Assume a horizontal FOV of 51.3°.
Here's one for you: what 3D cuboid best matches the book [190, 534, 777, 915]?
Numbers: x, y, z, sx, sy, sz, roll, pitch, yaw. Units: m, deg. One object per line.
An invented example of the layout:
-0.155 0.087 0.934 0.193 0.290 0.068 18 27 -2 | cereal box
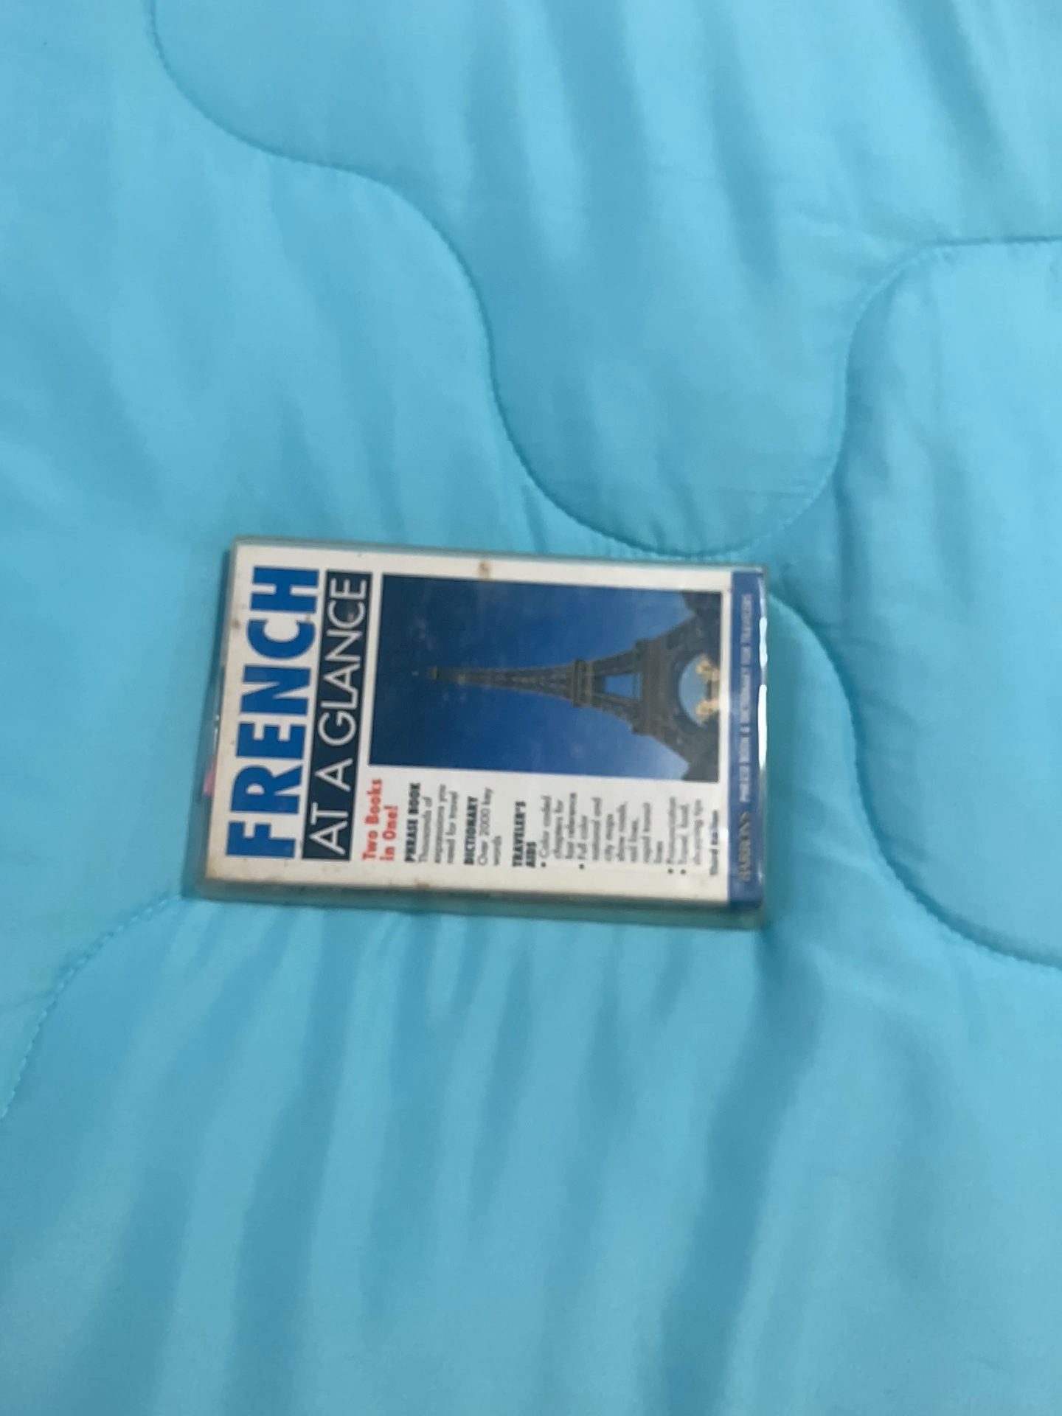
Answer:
-0.011 0.005 0.307 0.154 0.017 0.099 2 79 -2 | book
